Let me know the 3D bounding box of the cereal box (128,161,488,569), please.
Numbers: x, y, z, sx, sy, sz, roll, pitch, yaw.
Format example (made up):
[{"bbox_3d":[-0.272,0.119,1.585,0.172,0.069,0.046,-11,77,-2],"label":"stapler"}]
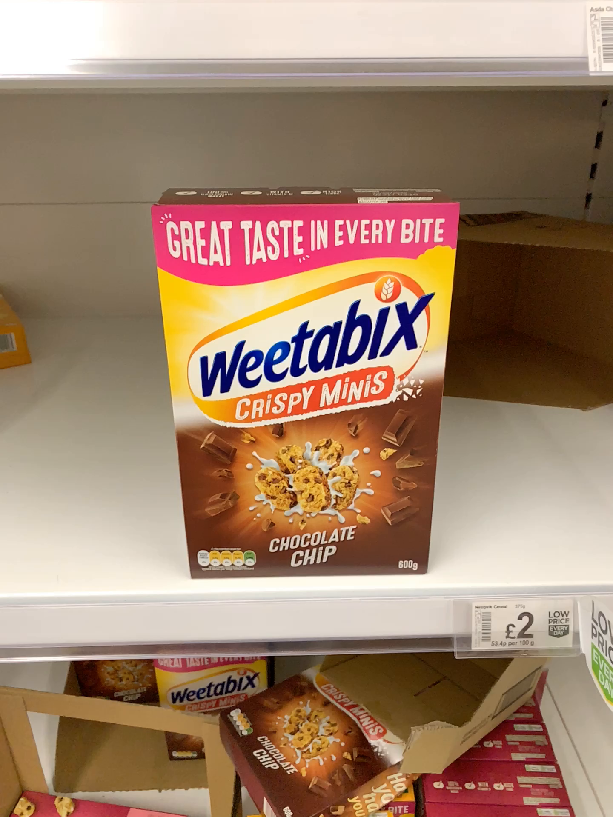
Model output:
[{"bbox_3d":[0.002,-0.023,0.460,0.210,0.287,0.071,-1,25,0],"label":"cereal box"}]
